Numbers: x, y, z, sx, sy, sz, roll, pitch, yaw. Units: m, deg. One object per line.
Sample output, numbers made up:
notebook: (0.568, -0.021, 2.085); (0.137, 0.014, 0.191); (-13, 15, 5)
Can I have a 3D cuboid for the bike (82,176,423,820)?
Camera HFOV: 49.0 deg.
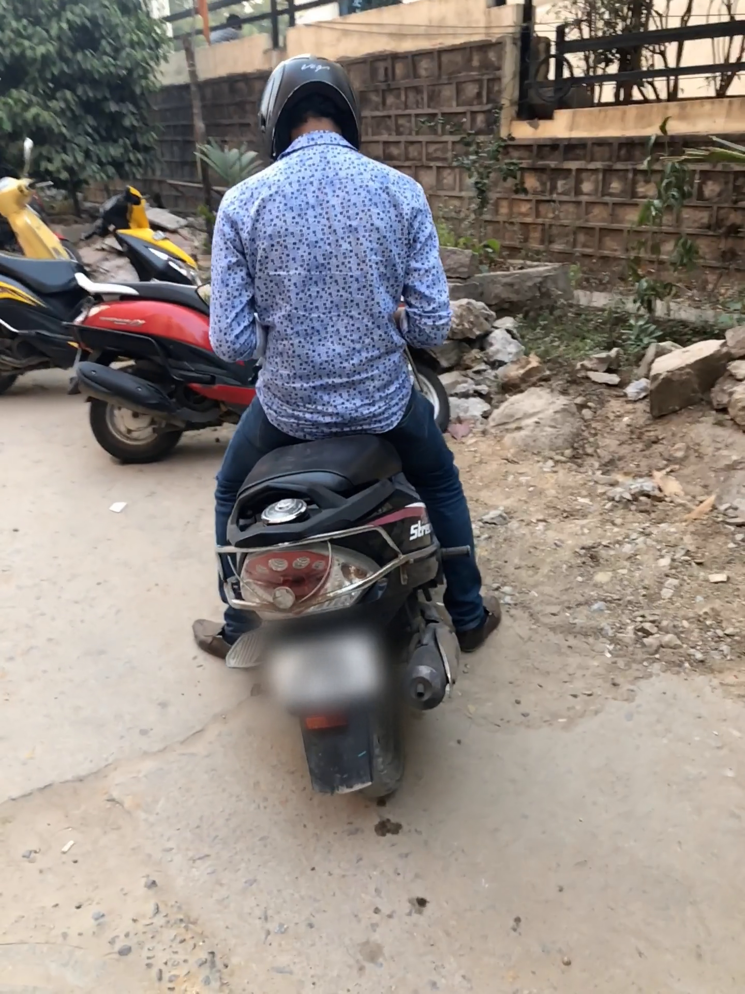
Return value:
bike: (-0.234, -0.173, 2.182); (0.559, 1.054, 1.482); (-2, 27, -2)
